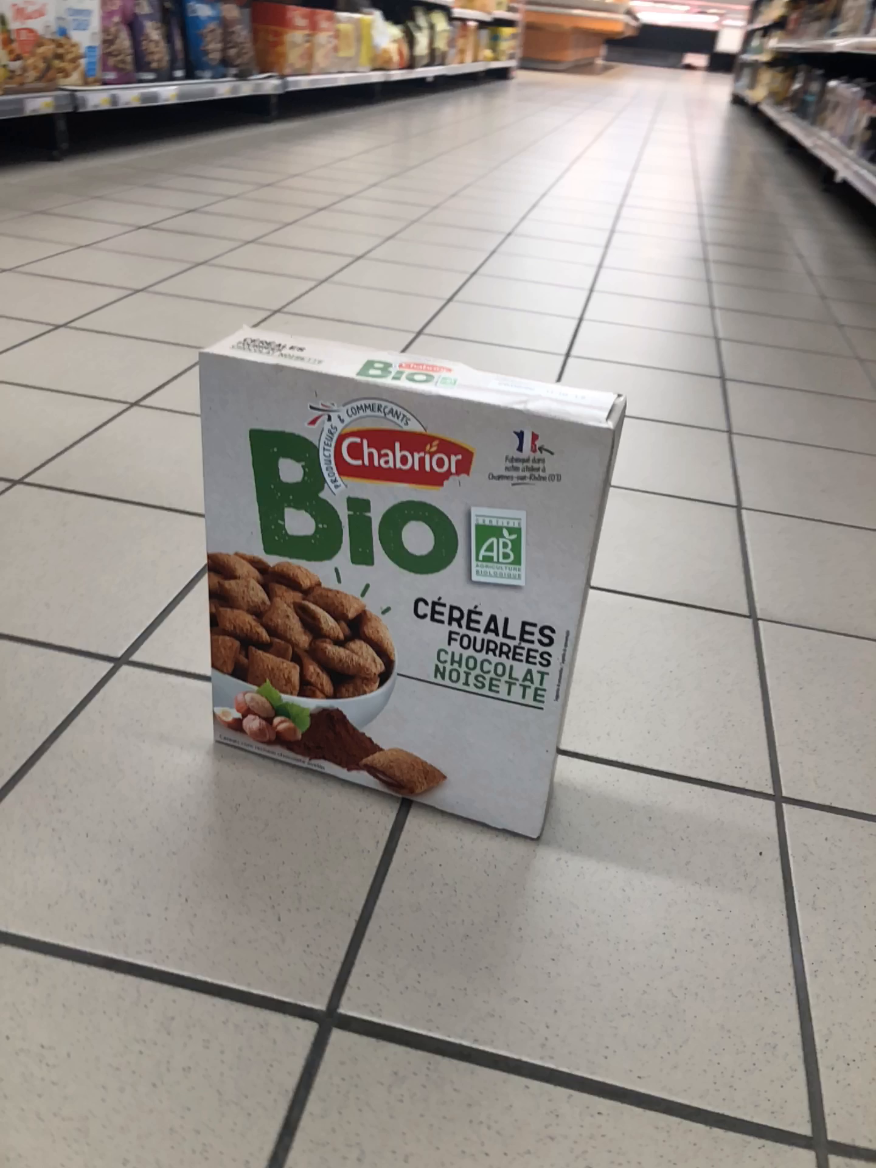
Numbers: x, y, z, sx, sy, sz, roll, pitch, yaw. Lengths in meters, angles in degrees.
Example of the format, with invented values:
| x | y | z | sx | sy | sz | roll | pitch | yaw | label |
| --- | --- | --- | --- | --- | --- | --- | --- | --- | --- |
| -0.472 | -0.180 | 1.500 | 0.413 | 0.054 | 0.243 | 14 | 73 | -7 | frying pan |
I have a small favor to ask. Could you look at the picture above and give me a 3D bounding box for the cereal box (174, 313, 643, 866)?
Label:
| x | y | z | sx | sy | sz | roll | pitch | yaw | label |
| --- | --- | --- | --- | --- | --- | --- | --- | --- | --- |
| -0.025 | 0.002 | 0.496 | 0.210 | 0.239 | 0.060 | 14 | 27 | 16 | cereal box |
